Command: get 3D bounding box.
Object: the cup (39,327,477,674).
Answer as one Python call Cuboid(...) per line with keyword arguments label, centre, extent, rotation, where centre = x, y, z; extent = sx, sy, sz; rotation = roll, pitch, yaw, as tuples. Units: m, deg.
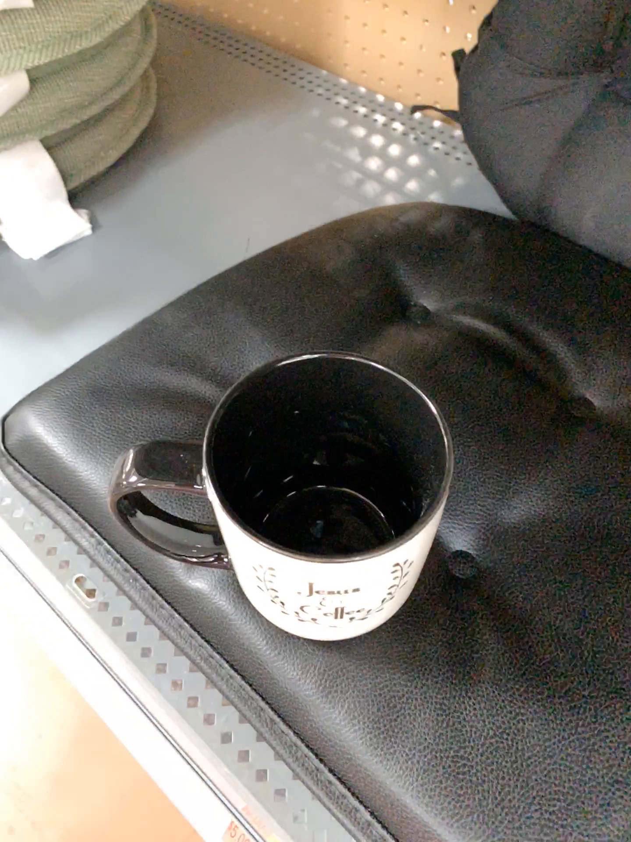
Cuboid(label="cup", centre=(-0.015, 0.036, 0.280), extent=(0.142, 0.104, 0.102), rotation=(3, 53, 4))
